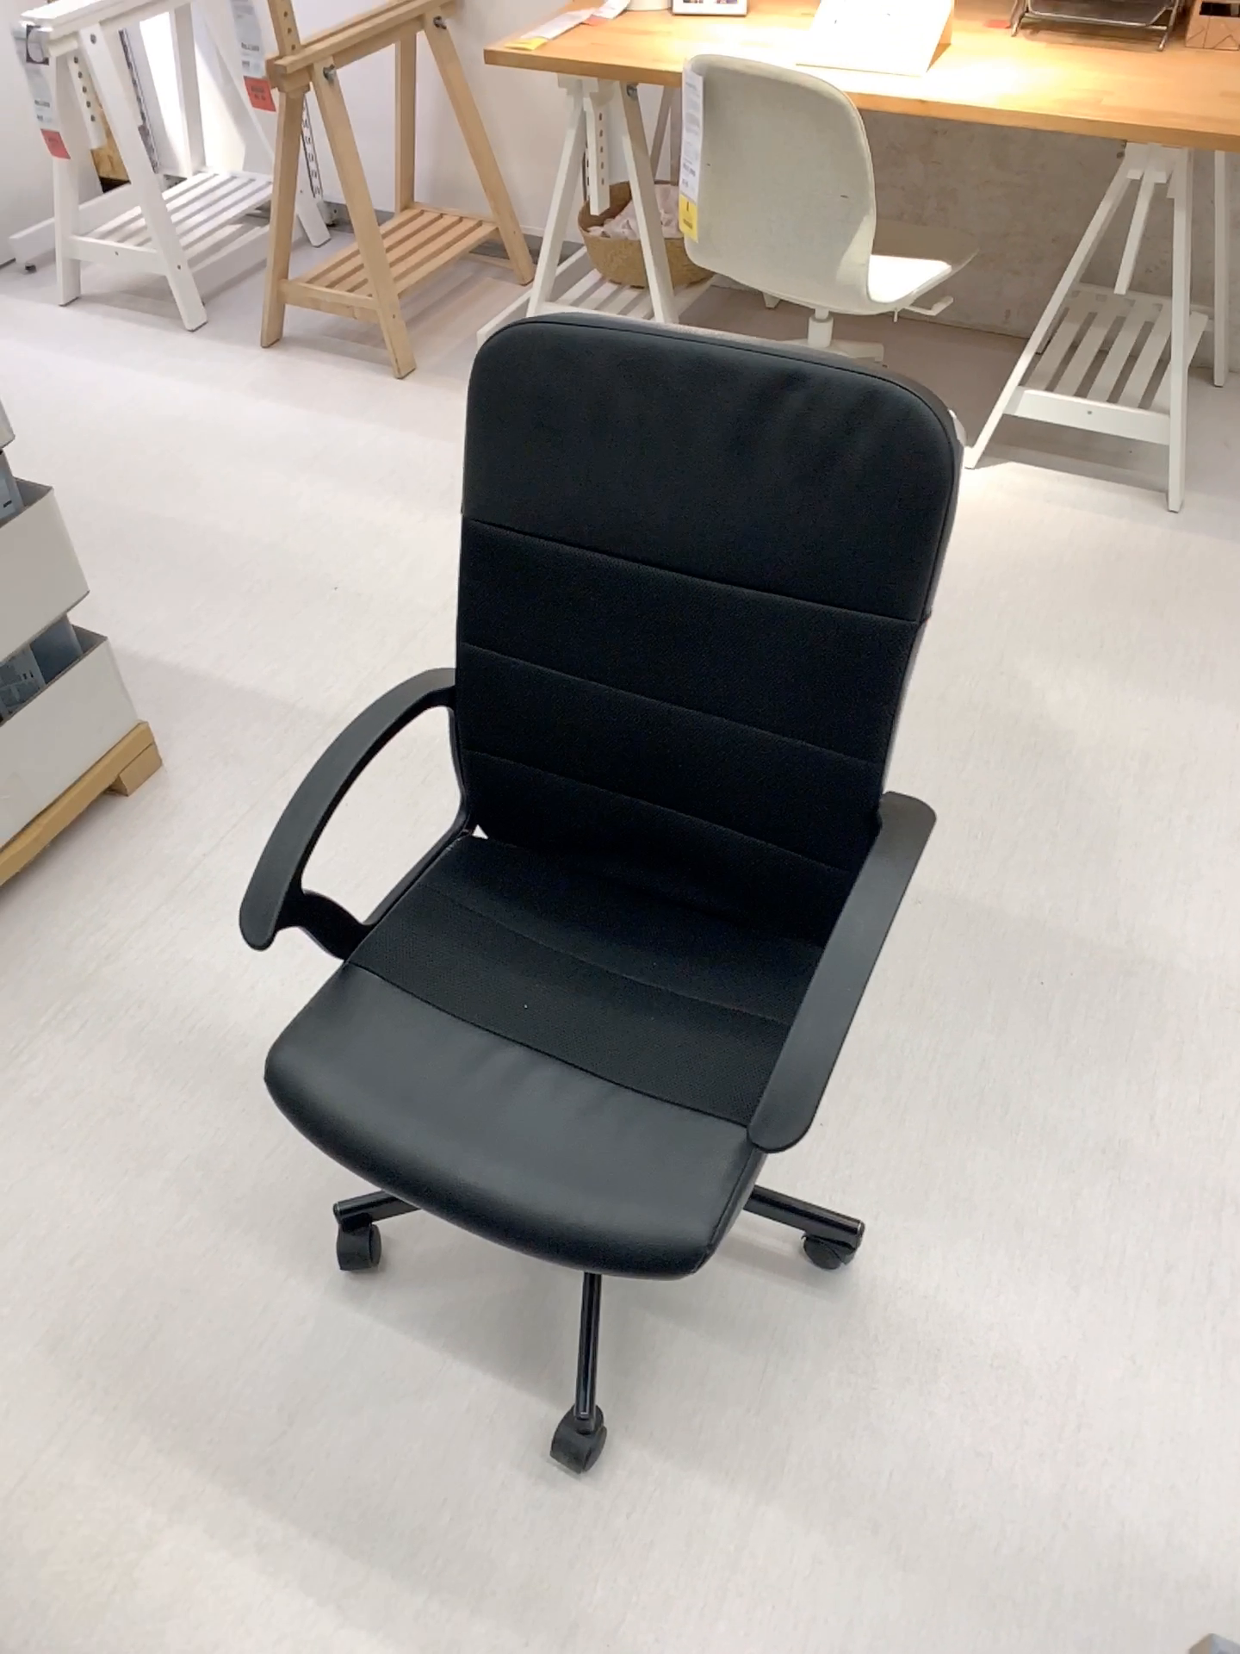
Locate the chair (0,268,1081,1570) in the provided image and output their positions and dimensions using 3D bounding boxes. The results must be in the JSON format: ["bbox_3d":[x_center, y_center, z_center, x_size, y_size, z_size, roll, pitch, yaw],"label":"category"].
[{"bbox_3d":[-0.038,0.127,1.194,0.611,0.996,0.582,16,48,17],"label":"chair"}]
